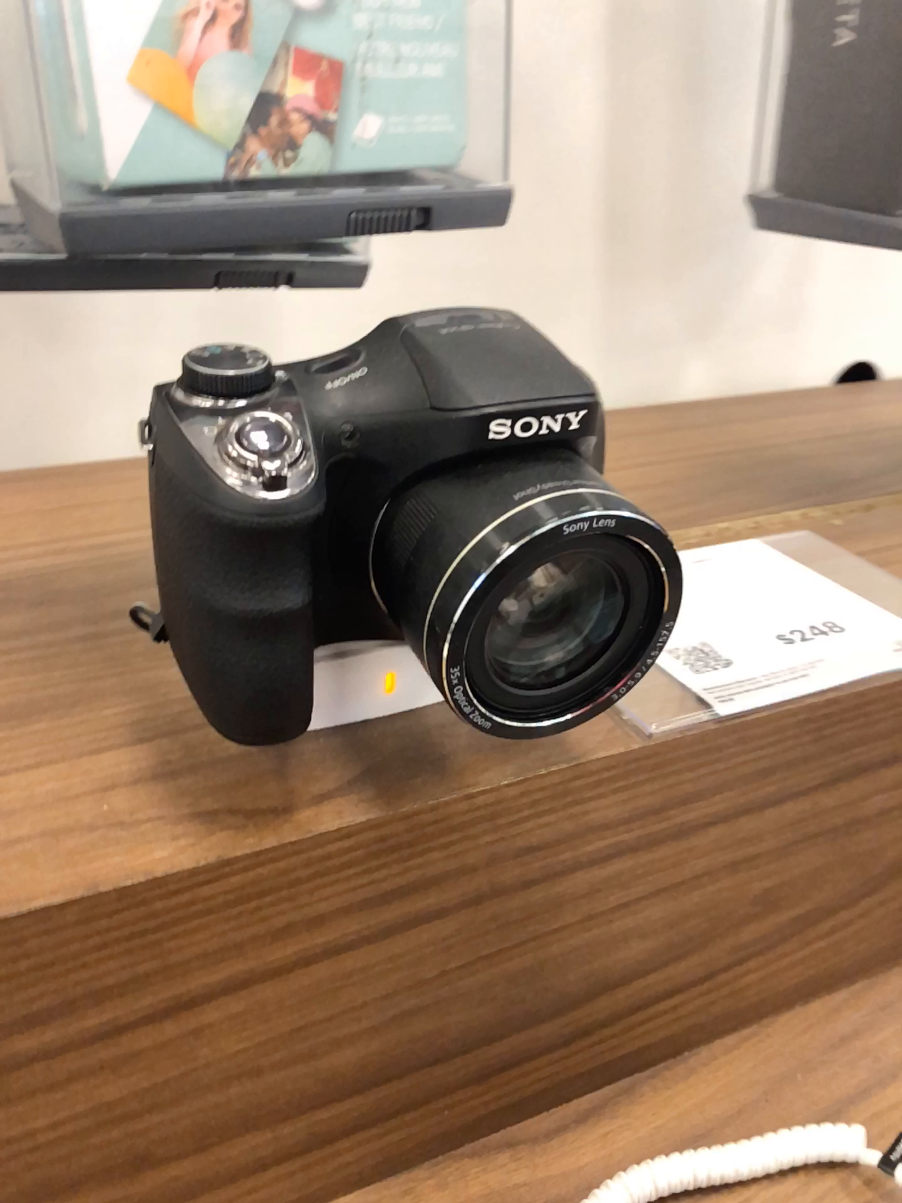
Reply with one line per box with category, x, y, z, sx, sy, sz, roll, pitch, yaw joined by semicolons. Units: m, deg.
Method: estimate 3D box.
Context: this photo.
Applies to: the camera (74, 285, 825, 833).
camera;-0.009;-0.027;0.257;0.140;0.080;0.120;-11;28;-23
